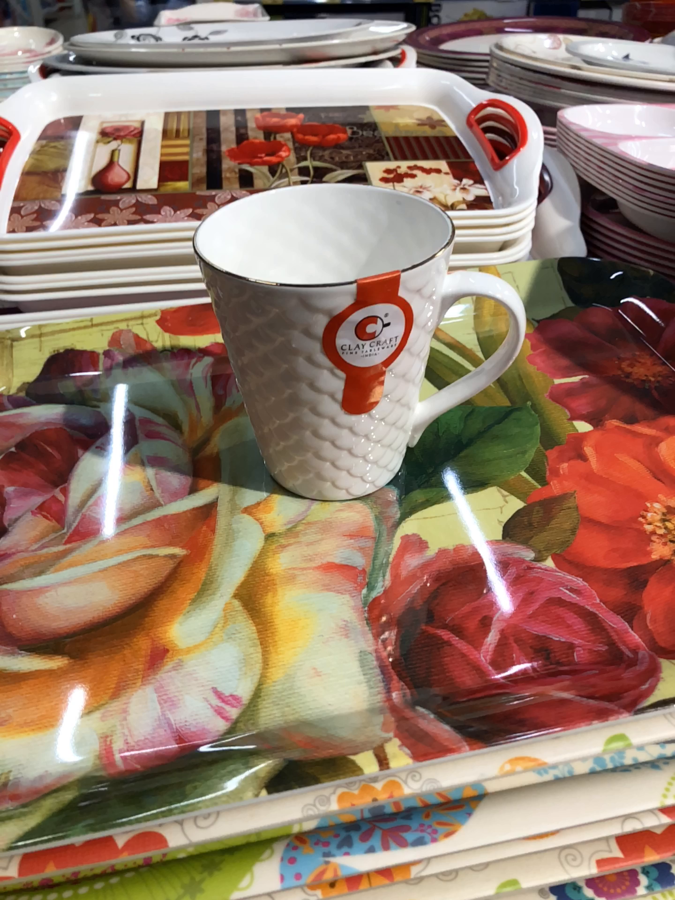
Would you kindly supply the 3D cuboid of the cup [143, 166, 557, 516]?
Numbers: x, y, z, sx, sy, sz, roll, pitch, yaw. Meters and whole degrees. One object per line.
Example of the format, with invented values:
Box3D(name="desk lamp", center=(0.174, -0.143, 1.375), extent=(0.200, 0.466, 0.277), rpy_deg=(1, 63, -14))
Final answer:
Box3D(name="cup", center=(0.008, -0.046, 0.282), extent=(0.120, 0.089, 0.101), rpy_deg=(3, 35, 6))
